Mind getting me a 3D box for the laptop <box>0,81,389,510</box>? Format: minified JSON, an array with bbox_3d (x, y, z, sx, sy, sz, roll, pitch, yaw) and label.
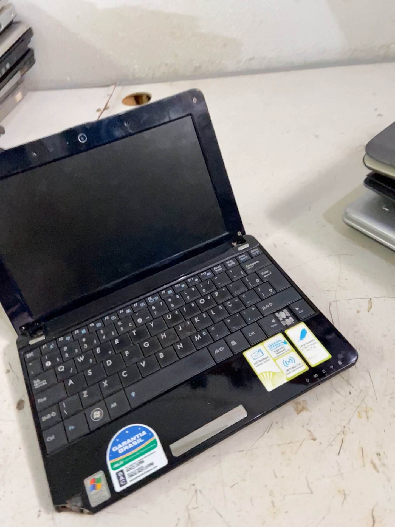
[{"bbox_3d":[-0.051,-0.005,0.351,0.258,0.131,0.266,-24,50,-13],"label":"laptop"}]
